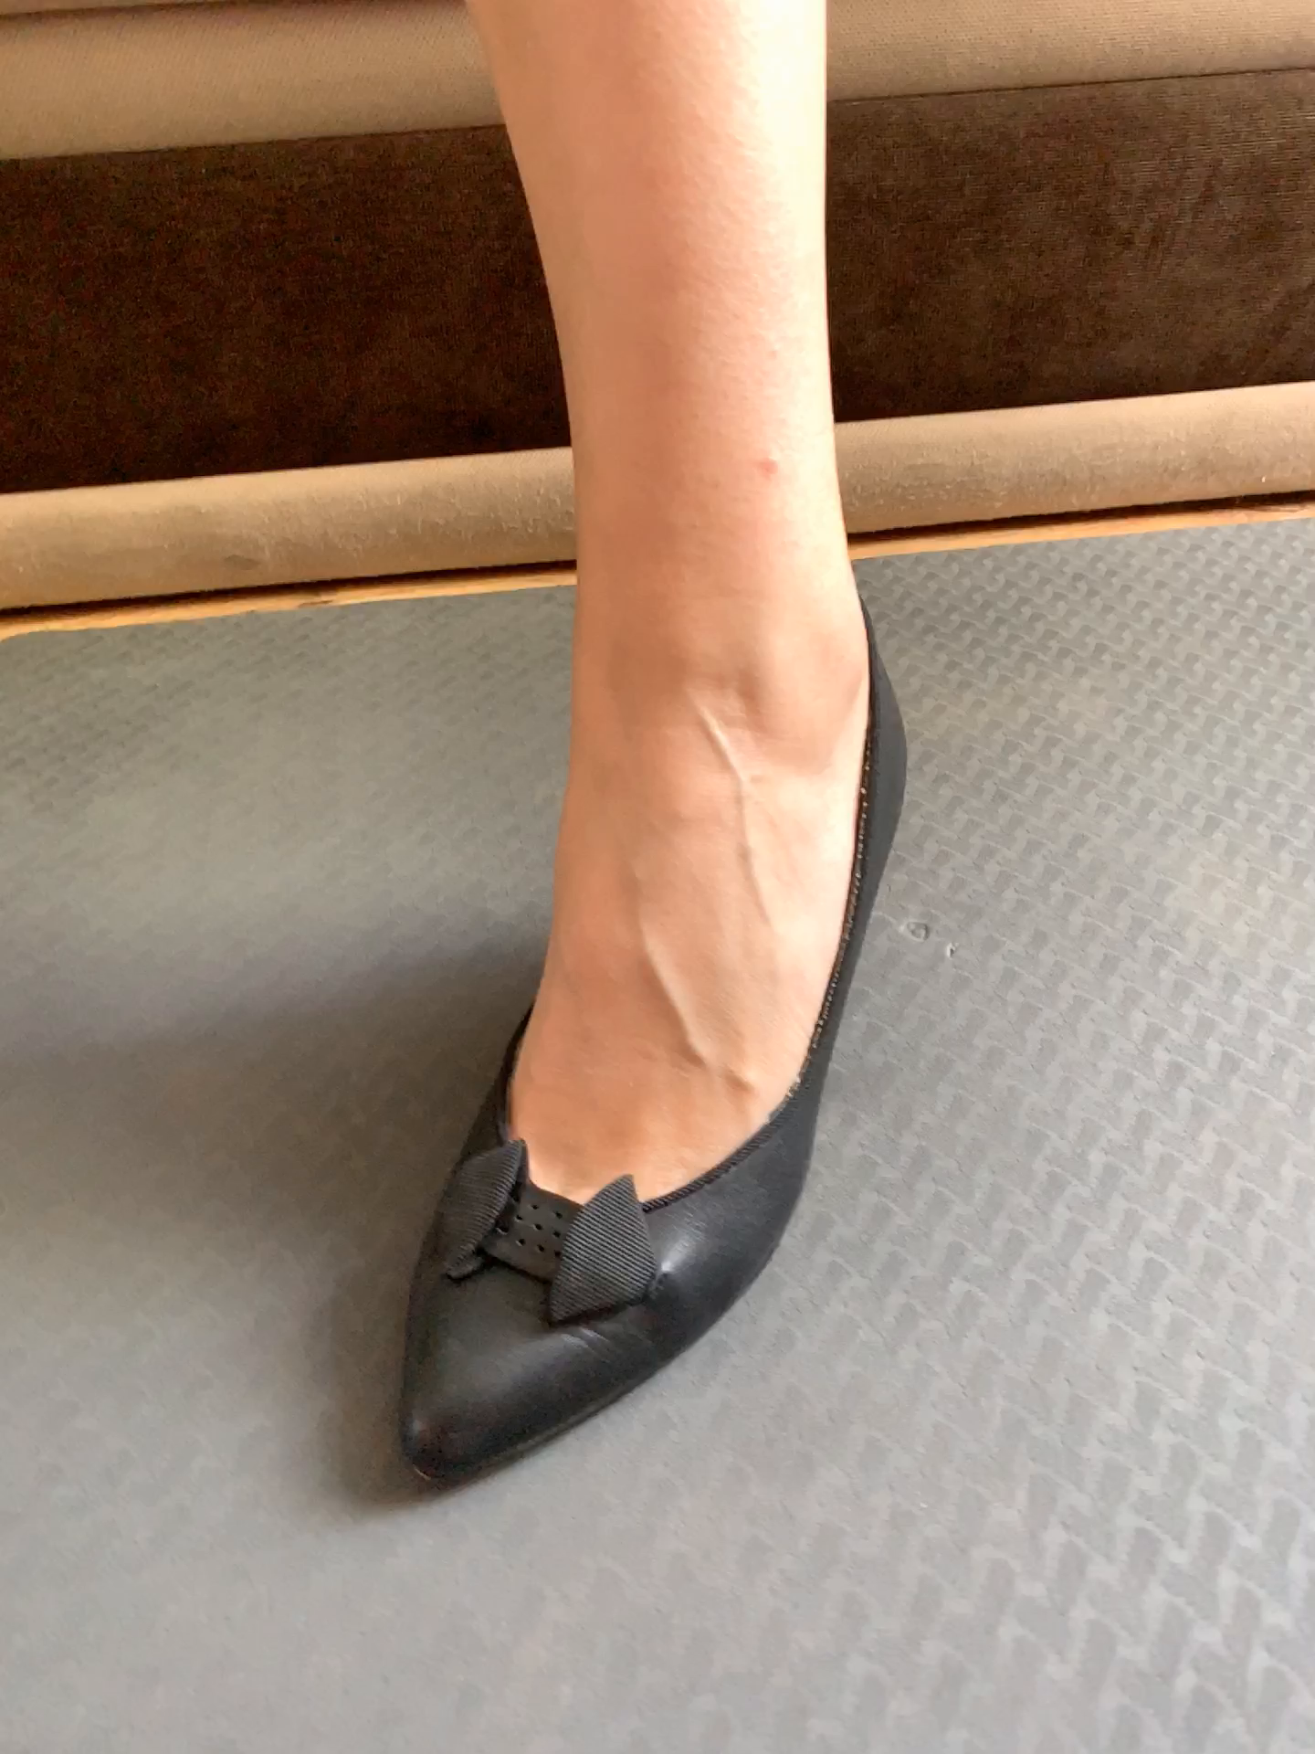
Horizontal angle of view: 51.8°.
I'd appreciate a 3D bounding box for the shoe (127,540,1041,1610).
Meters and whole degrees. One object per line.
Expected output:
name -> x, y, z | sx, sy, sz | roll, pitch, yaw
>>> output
shoe -> 0.007, 0.021, 0.318 | 0.090, 0.099, 0.231 | 17, 43, 23
